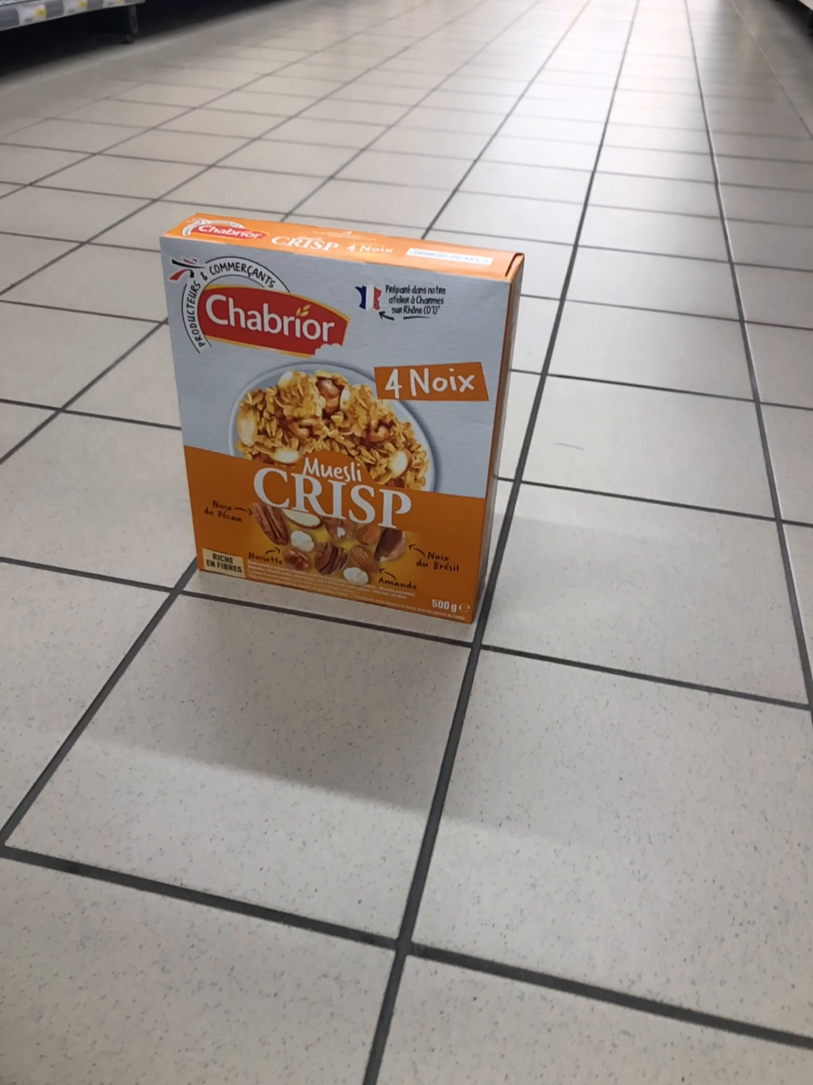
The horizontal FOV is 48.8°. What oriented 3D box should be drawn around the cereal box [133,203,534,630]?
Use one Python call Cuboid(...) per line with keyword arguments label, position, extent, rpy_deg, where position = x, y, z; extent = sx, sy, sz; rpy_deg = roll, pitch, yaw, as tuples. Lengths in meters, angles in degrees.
Cuboid(label="cereal box", position=(-0.041, -0.070, 0.531), extent=(0.200, 0.219, 0.060), rpy_deg=(10, 36, 11))
